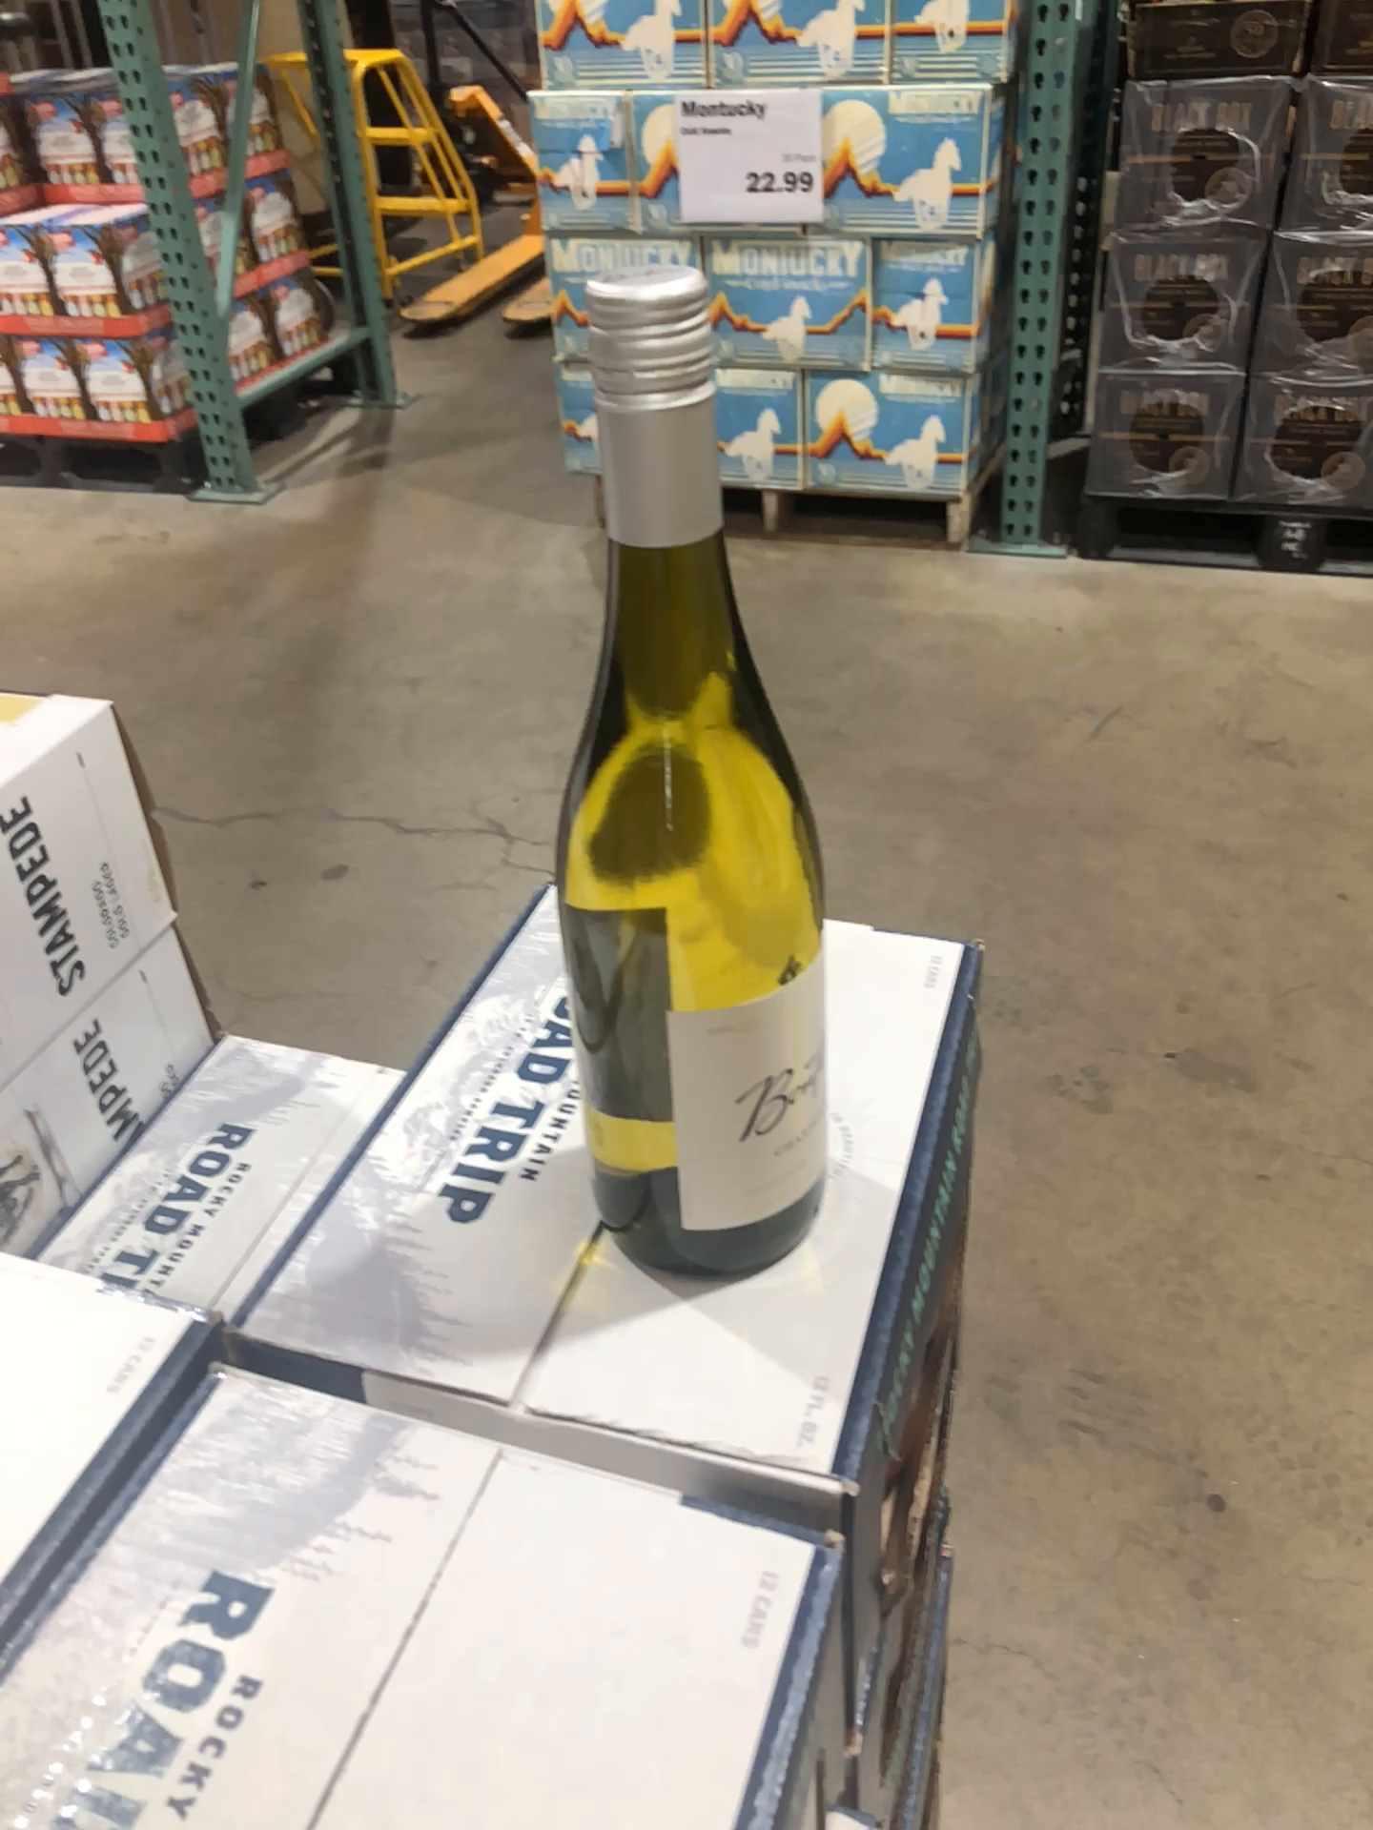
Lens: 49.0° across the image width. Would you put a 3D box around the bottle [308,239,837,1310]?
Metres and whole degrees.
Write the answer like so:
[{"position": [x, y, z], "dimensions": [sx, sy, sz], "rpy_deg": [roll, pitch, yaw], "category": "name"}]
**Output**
[{"position": [-0.016, -0.029, 0.428], "dimensions": [0.083, 0.284, 0.090], "rpy_deg": [-4, 34, 3], "category": "bottle"}]
